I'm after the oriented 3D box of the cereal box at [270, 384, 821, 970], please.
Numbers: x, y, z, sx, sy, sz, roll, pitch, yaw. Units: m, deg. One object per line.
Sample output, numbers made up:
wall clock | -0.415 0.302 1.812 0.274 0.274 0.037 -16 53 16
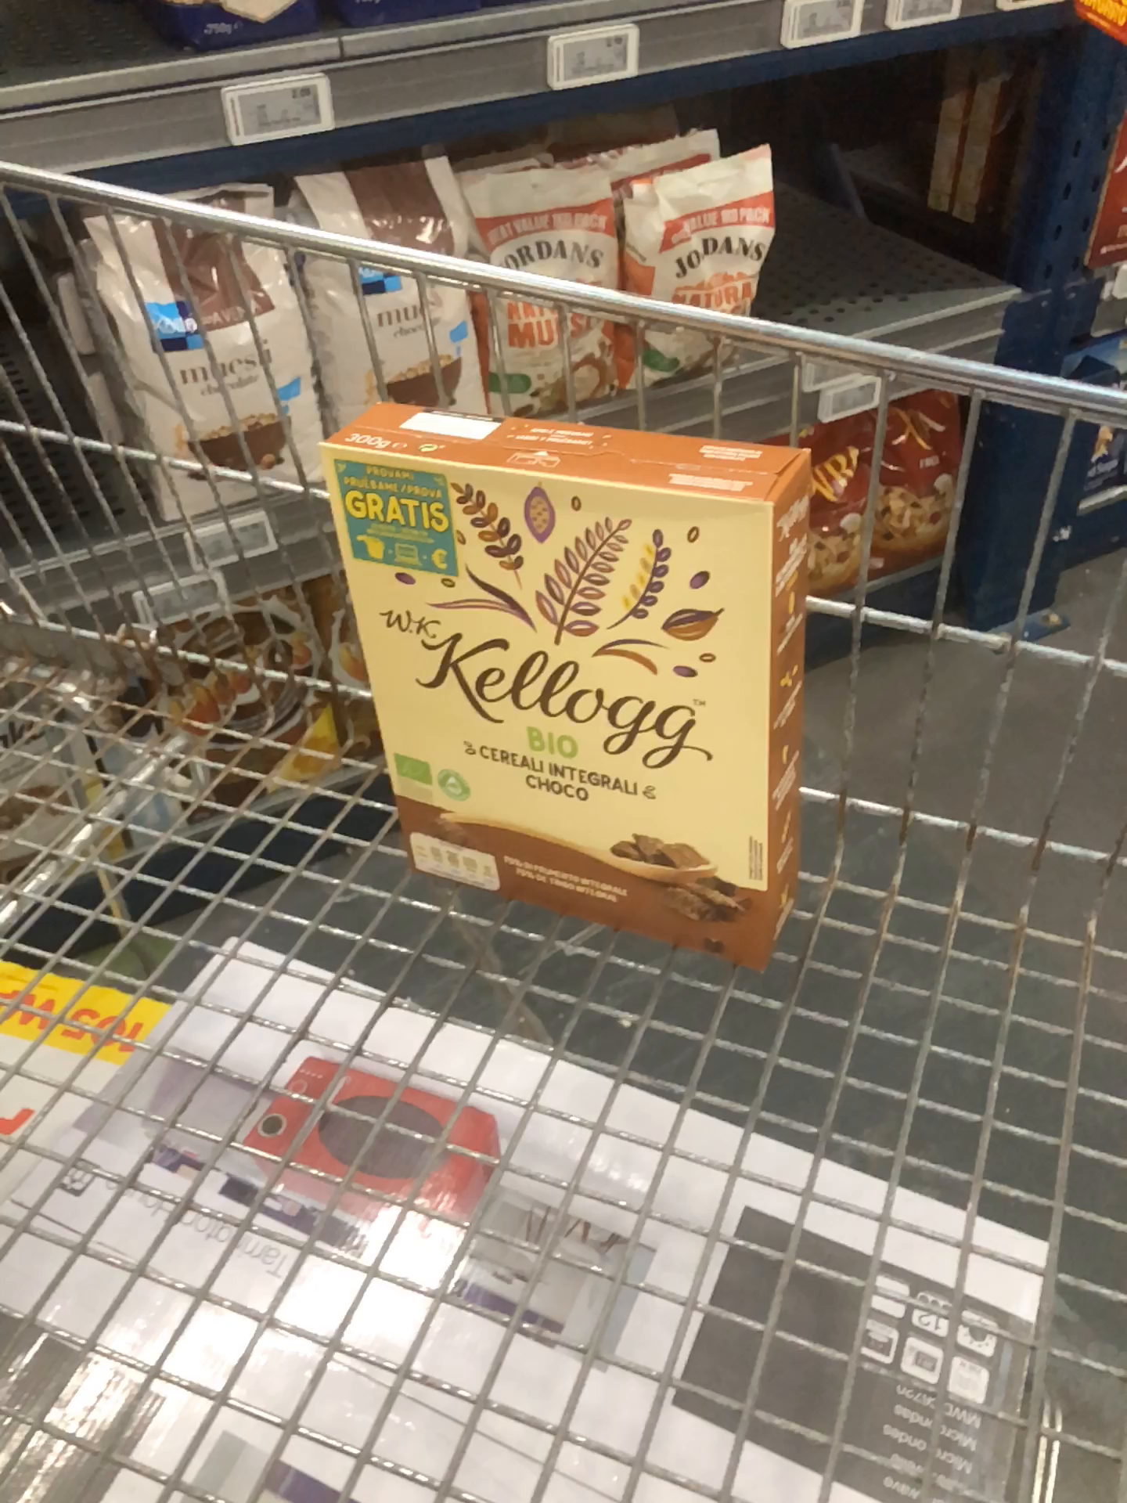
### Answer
cereal box | -0.001 -0.030 0.528 0.200 0.219 0.060 12 40 23
